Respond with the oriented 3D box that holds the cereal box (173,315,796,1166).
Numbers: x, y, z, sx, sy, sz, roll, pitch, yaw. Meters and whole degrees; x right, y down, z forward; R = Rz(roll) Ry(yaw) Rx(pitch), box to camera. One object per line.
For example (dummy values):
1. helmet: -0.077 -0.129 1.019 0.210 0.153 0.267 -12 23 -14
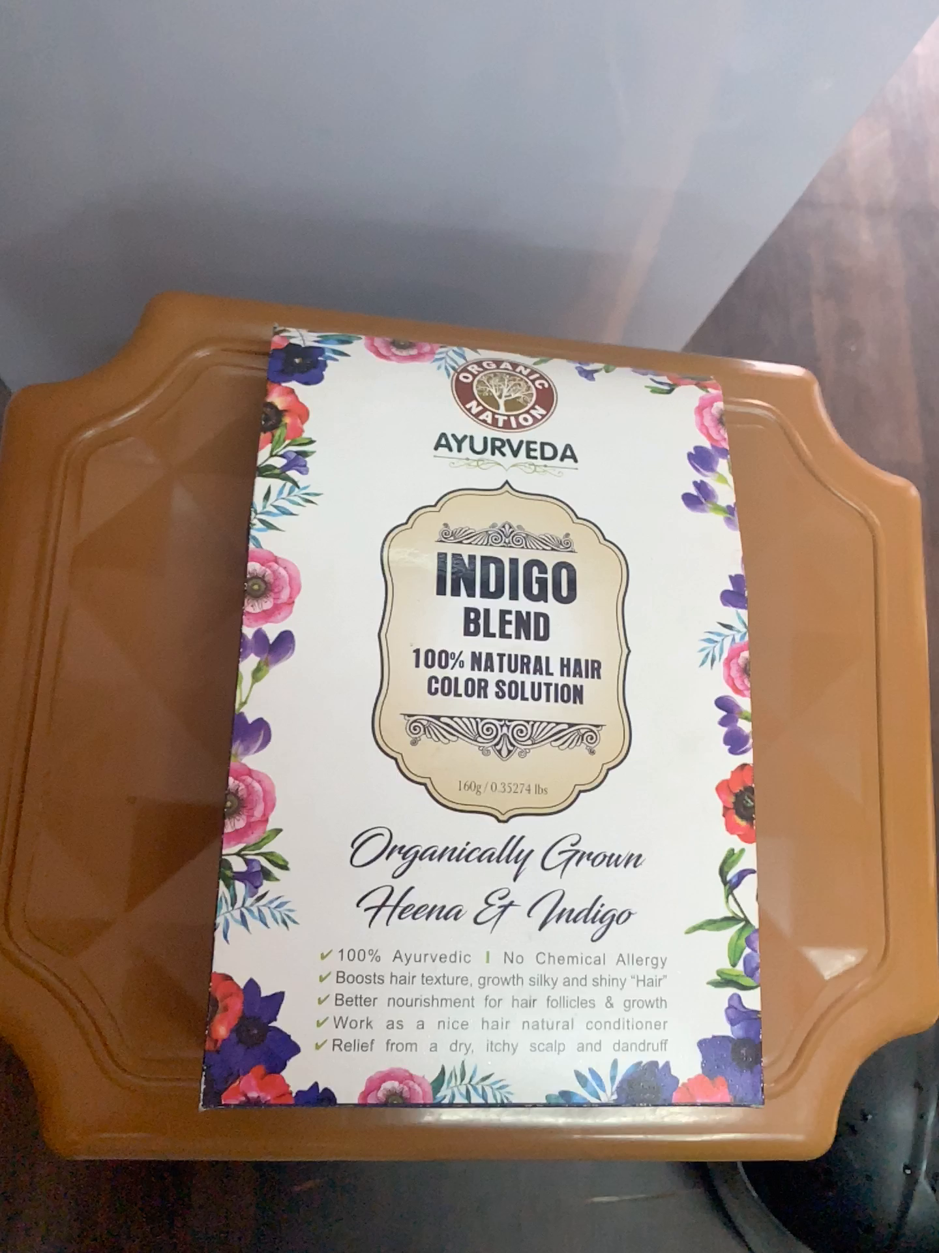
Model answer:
1. cereal box: 0.005 0.029 0.272 0.140 0.070 0.200 4 77 -8
